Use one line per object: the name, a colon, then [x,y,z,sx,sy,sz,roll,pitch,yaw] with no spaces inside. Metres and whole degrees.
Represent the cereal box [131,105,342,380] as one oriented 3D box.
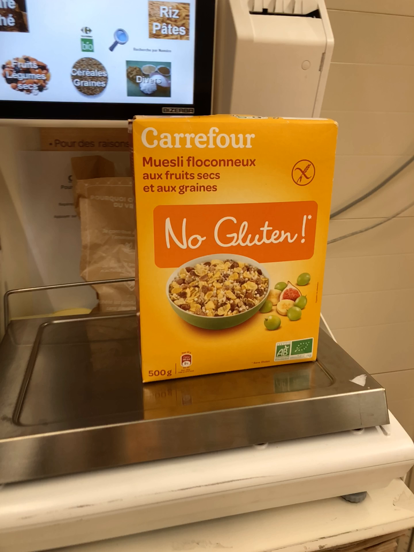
cereal box: [0.025,-0.032,0.463,0.190,0.259,0.050,-4,19,-14]
